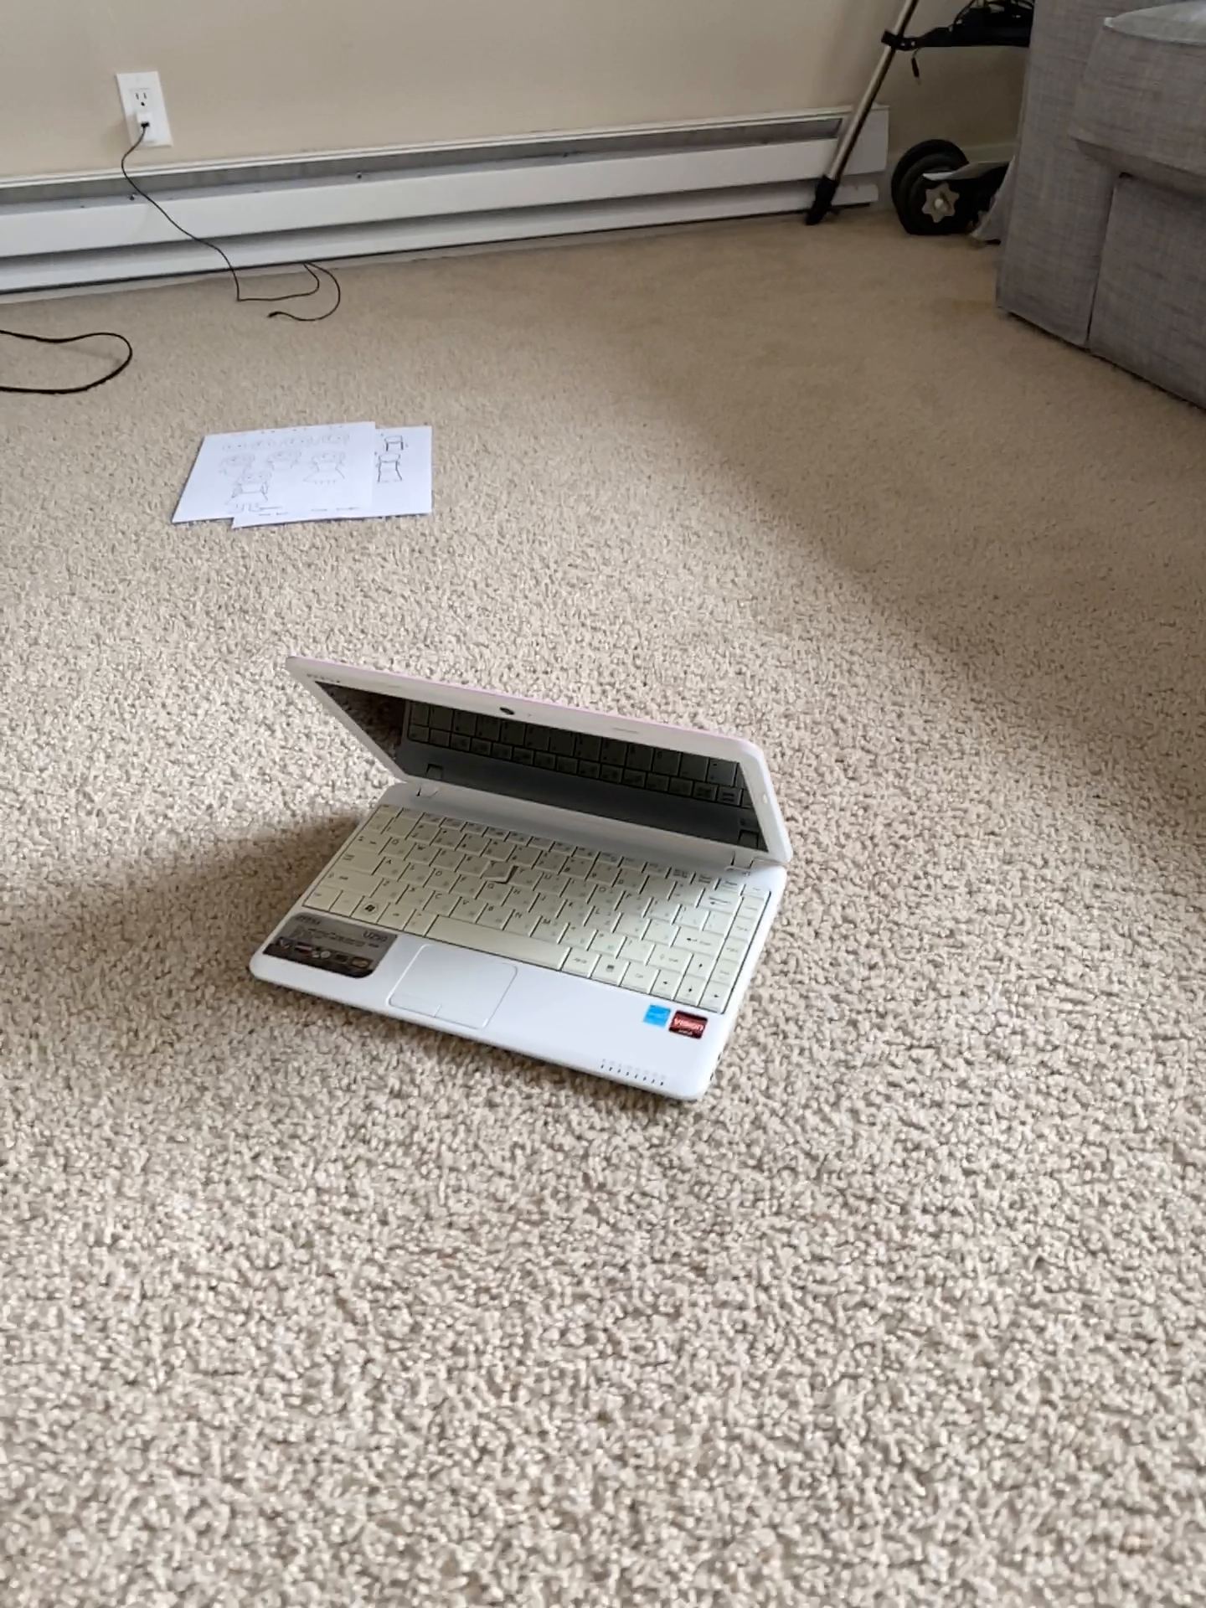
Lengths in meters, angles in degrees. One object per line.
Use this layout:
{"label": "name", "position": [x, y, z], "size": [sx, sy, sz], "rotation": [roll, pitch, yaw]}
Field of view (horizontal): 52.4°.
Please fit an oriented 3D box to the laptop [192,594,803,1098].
{"label": "laptop", "position": [-0.050, 0.010, 0.718], "size": [0.286, 0.147, 0.188], "rotation": [11, 40, 19]}
